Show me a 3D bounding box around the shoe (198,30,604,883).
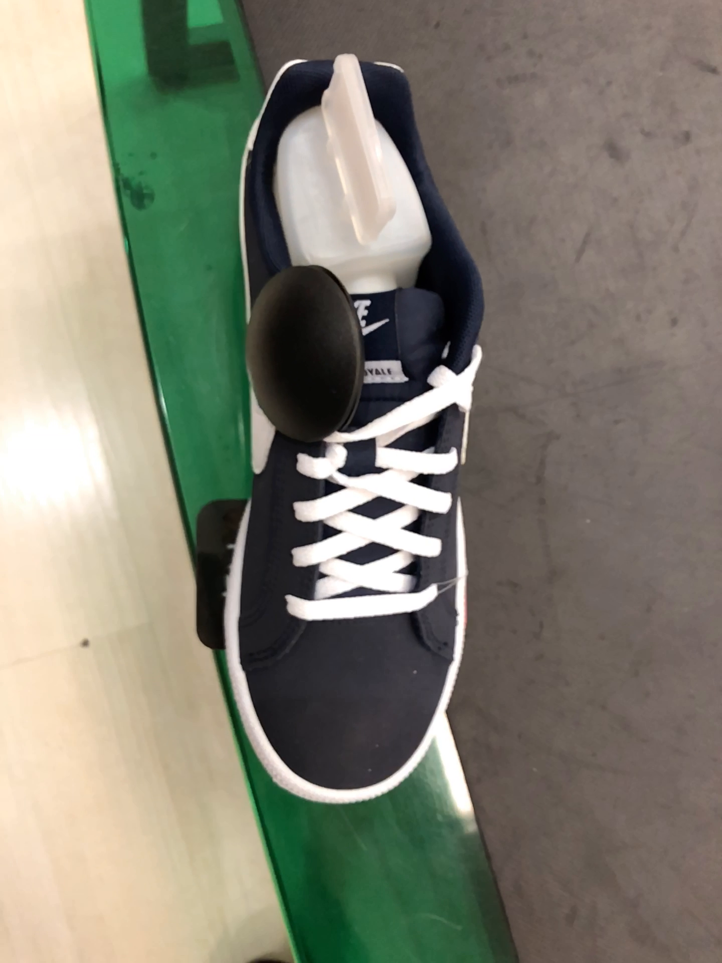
[{"bbox_3d":[0.003,-0.011,0.289,0.110,0.090,0.250,-2,84,-11],"label":"shoe"}]
